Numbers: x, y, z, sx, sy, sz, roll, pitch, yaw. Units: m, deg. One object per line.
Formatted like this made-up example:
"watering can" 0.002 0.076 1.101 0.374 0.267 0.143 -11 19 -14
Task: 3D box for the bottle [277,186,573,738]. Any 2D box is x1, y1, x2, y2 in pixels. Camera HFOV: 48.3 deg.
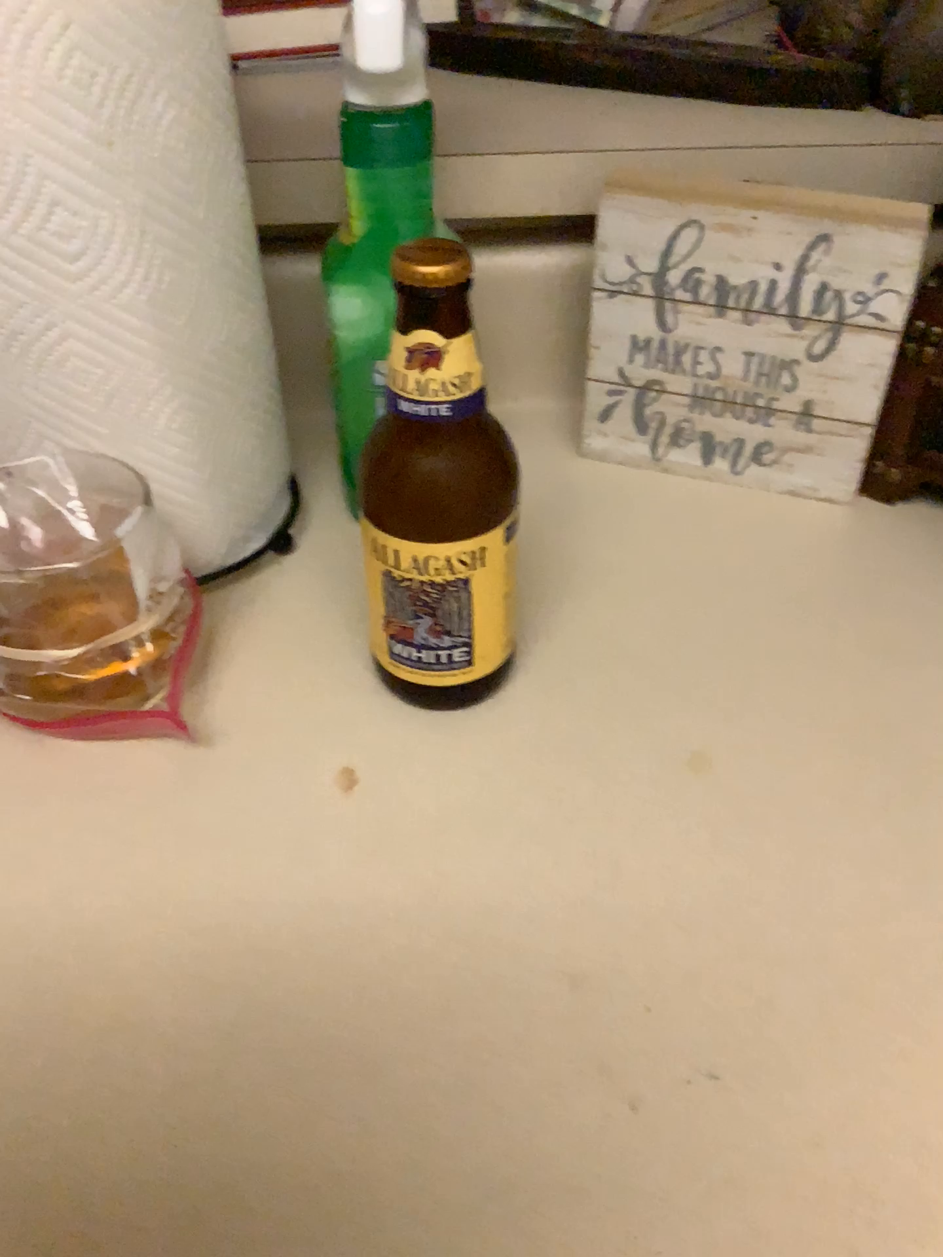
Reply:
"bottle" -0.011 -0.058 0.408 0.080 0.190 0.080 0 41 0
